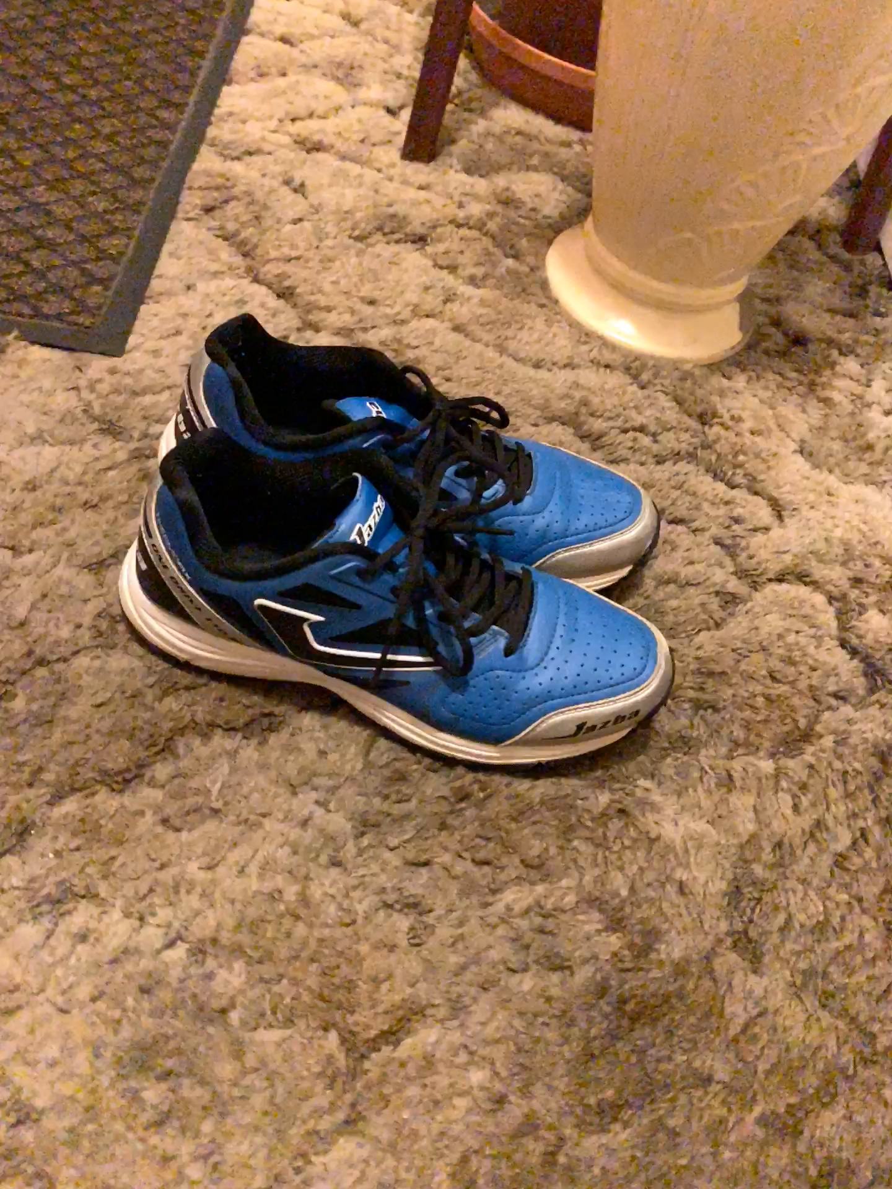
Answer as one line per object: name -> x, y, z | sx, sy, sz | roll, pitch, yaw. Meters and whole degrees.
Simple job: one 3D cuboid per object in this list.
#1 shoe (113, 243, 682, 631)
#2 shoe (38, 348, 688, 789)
shoe -> -0.023, -0.082, 0.503 | 0.270, 0.119, 0.101 | 12, 52, -3
shoe -> -0.037, -0.010, 0.465 | 0.280, 0.119, 0.101 | 16, 52, 0
